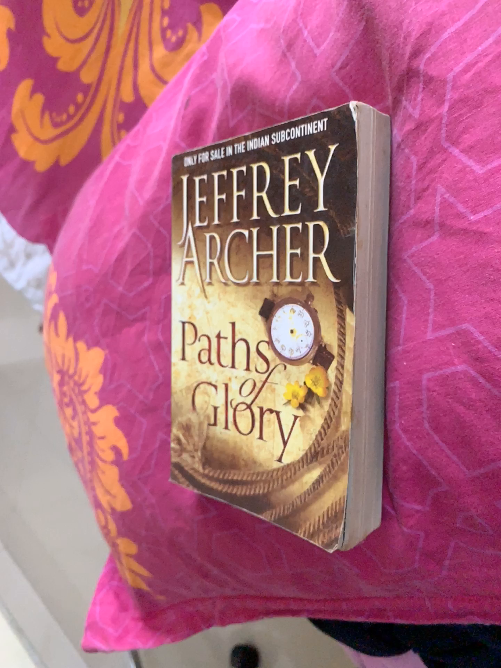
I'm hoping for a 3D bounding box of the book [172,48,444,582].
[{"bbox_3d":[0.015,-0.008,0.235,0.121,0.040,0.180,7,99,48],"label":"book"}]
